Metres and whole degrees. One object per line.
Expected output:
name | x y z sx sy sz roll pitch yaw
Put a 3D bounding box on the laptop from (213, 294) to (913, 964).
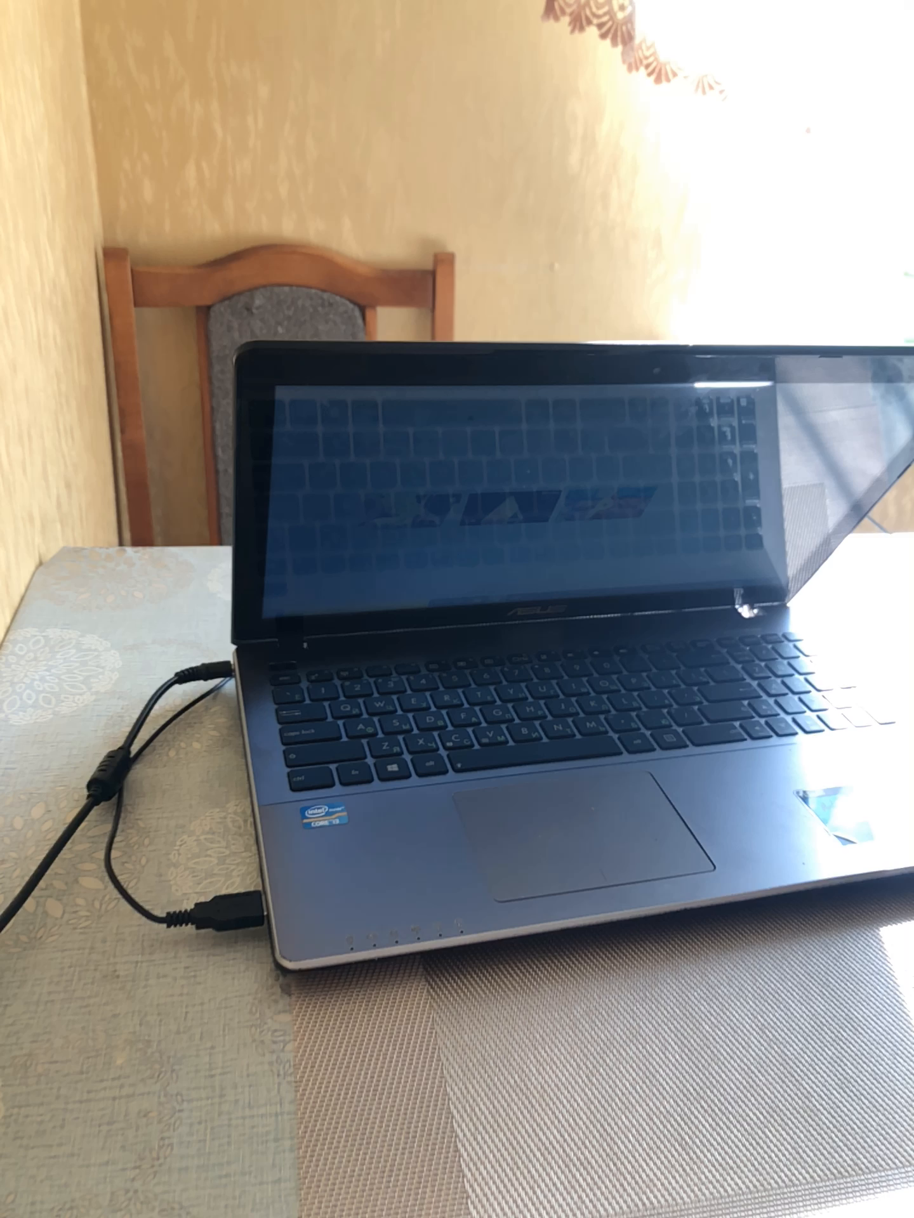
laptop | 0.086 -0.026 0.486 0.370 0.196 0.243 -5 28 -15
